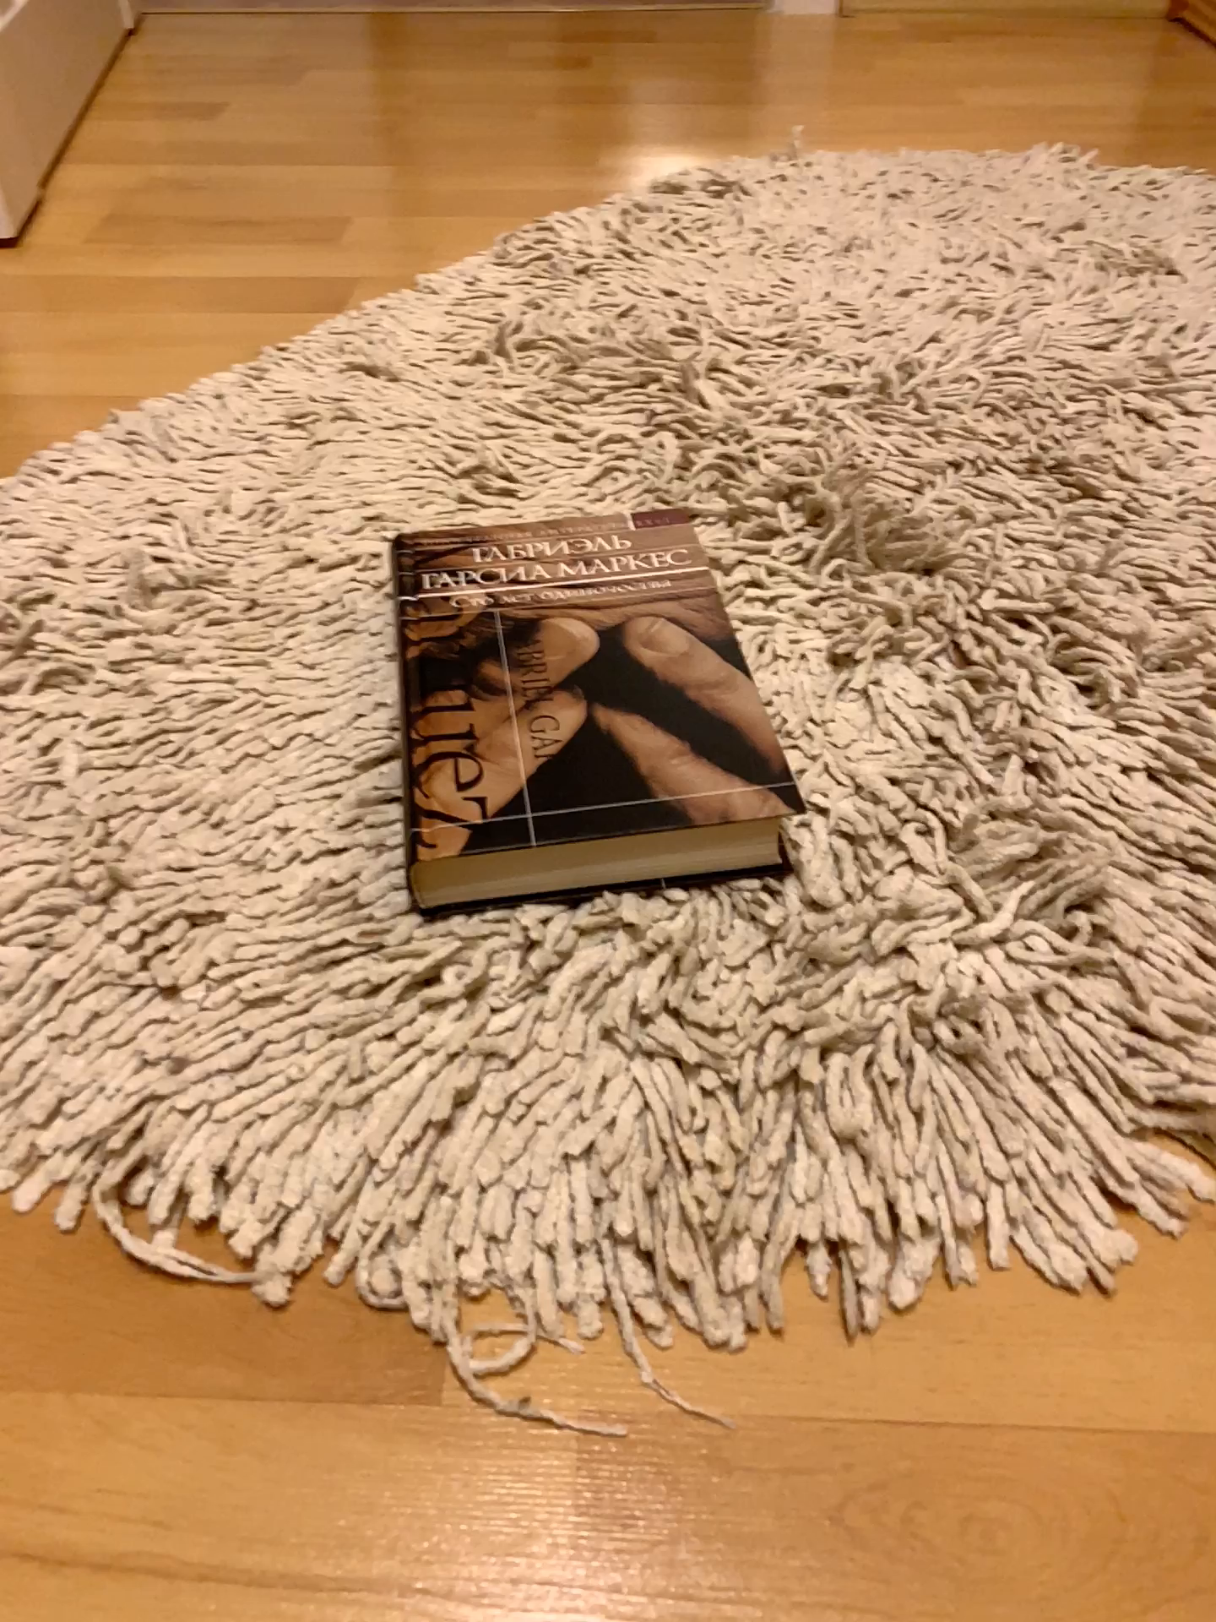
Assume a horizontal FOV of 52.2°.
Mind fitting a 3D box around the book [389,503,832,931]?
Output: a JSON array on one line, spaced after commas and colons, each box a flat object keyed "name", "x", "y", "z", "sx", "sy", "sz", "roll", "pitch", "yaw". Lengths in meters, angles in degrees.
[{"name": "book", "x": -0.011, "y": -0.050, "z": 0.489, "sx": 0.140, "sy": 0.030, "sz": 0.212, "roll": -7, "pitch": 43, "yaw": -6}]
